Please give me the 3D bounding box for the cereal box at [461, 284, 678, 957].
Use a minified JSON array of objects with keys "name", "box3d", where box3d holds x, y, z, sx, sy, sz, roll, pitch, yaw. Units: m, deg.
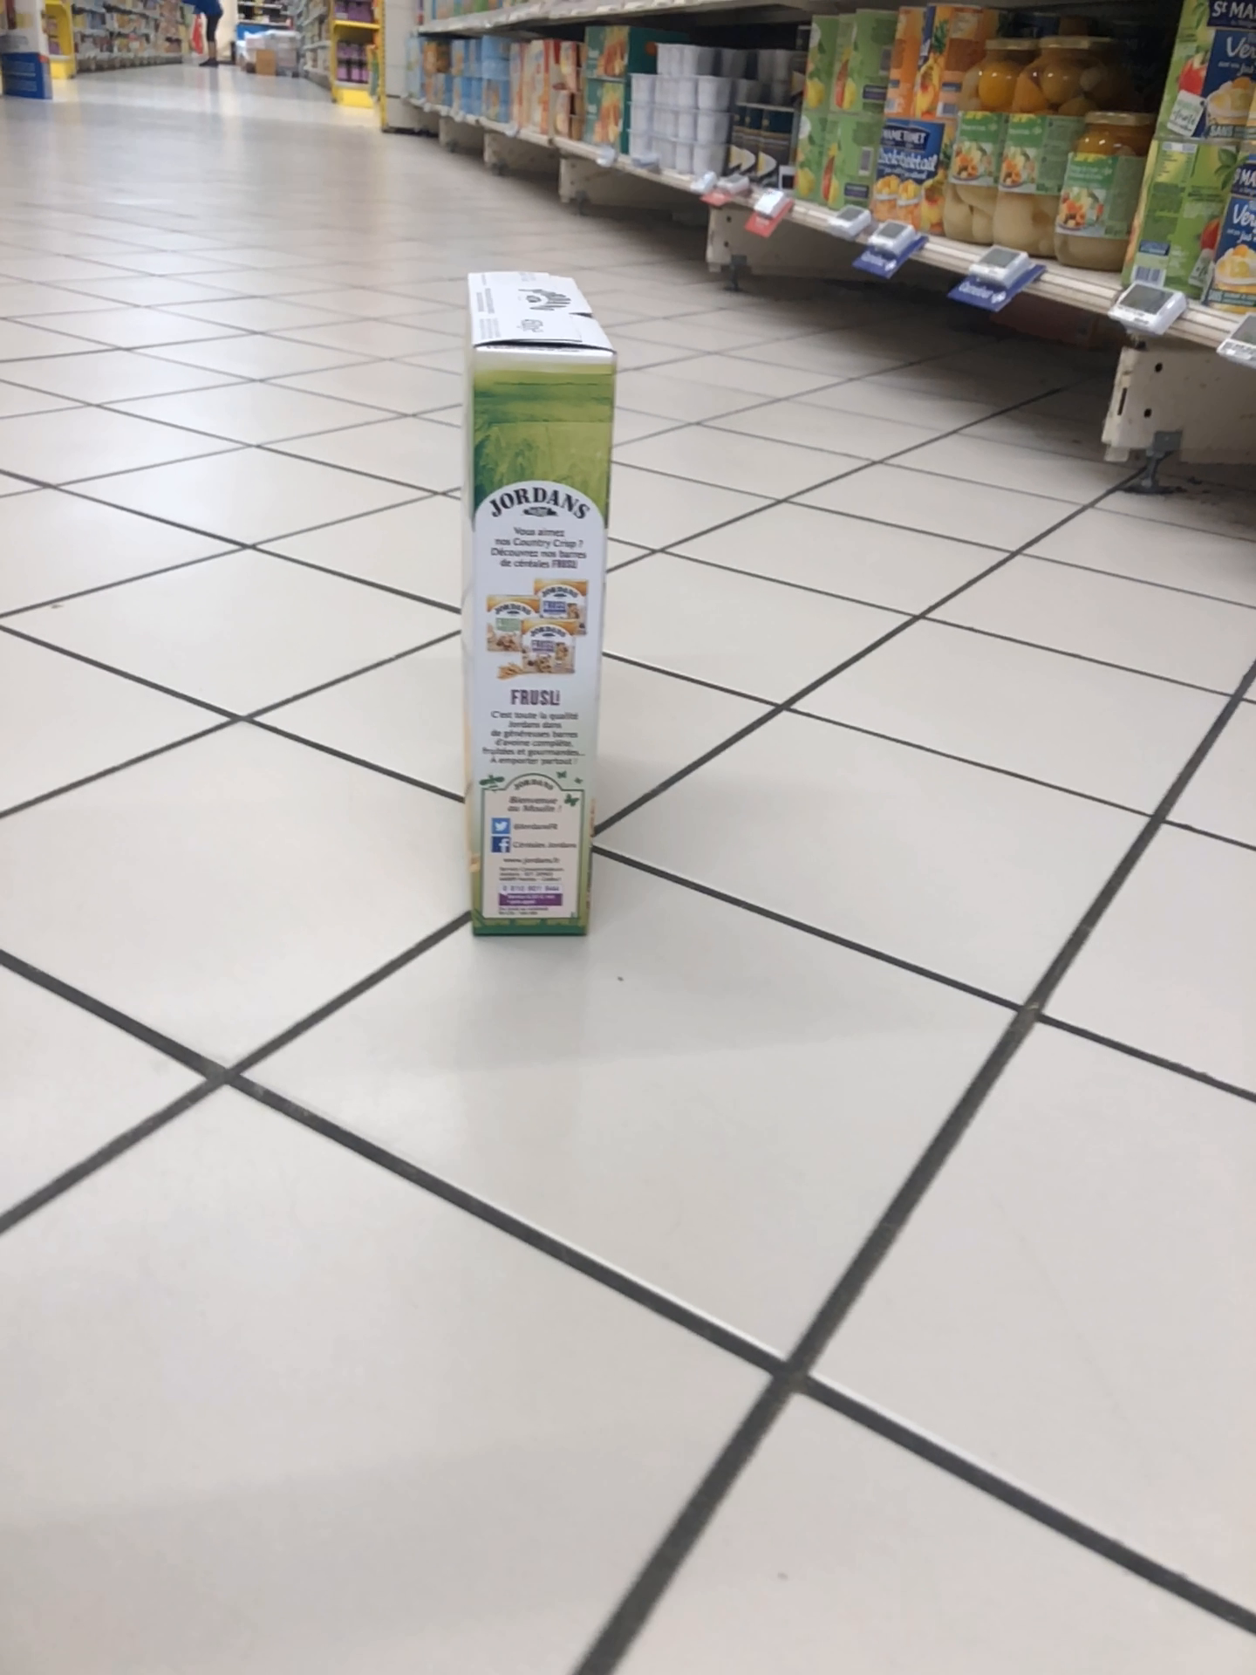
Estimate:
[{"name":"cereal box","box3d":[-0.031,-0.094,0.546,0.060,0.209,0.191,2,28,-7]}]
